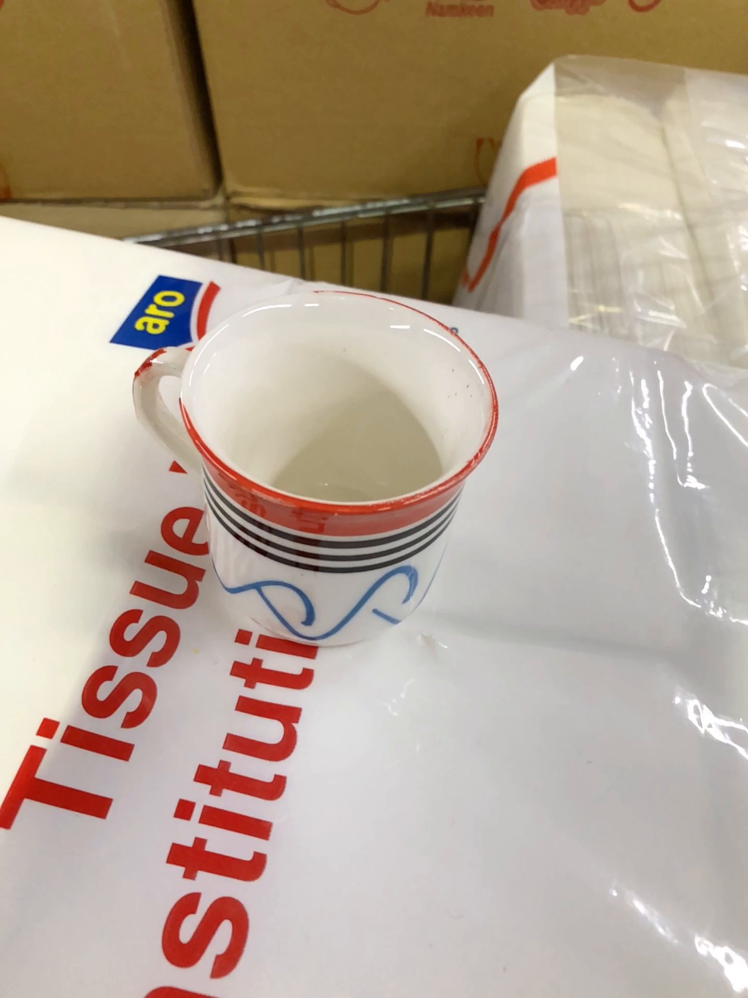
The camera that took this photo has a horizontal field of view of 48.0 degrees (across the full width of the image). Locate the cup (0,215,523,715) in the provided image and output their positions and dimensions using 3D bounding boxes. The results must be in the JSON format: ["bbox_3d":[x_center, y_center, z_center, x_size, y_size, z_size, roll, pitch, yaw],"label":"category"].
[{"bbox_3d":[-0.024,-0.010,0.195,0.090,0.060,0.070,19,53,11],"label":"cup"}]
